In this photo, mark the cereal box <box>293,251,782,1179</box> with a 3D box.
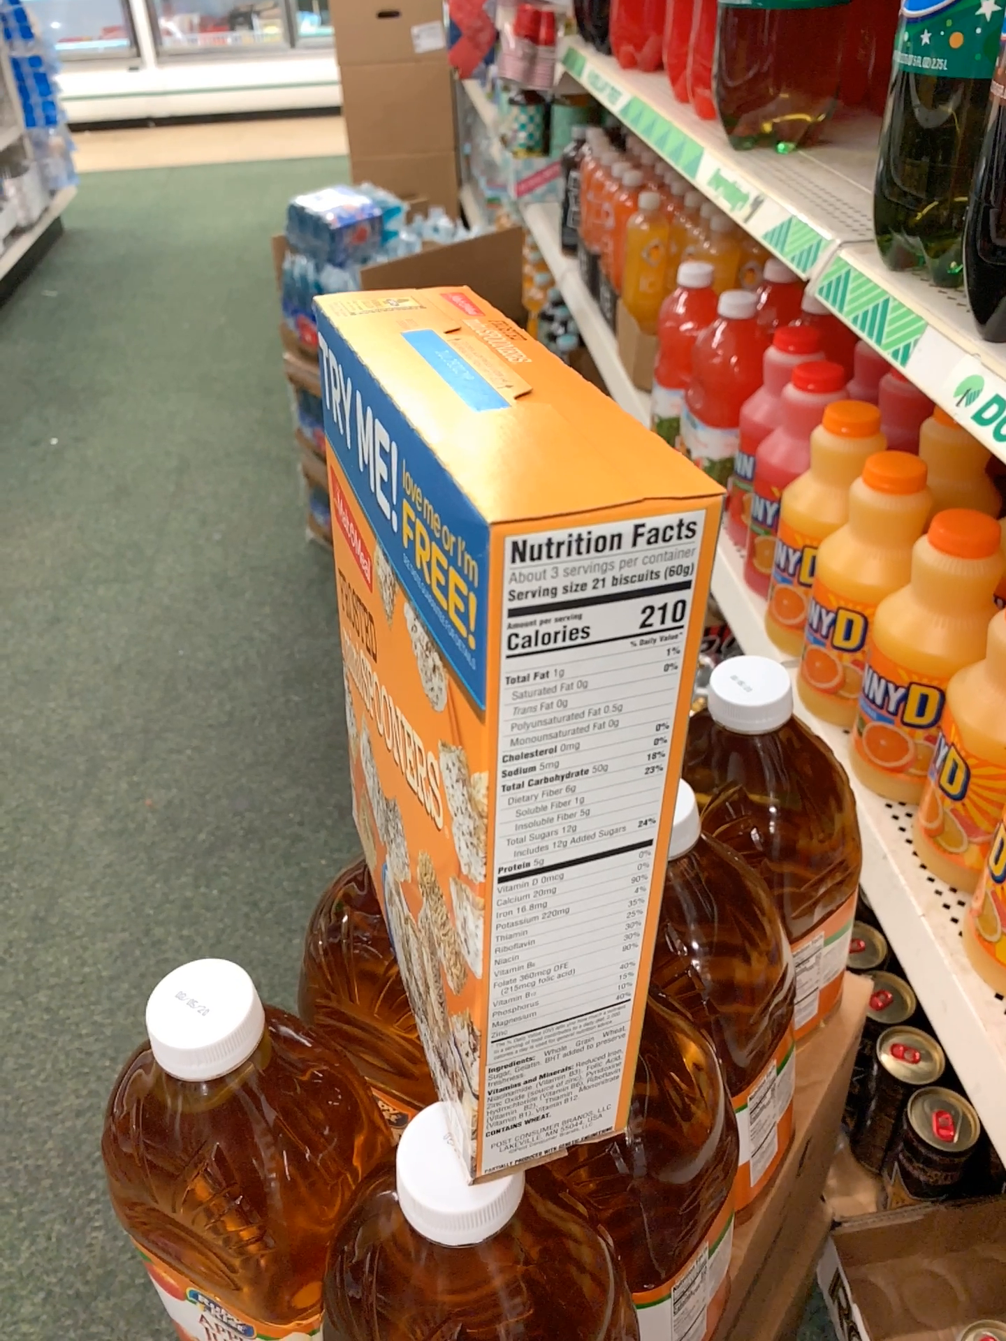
[{"bbox_3d":[-0.010,0.009,0.318,0.060,0.219,0.171,-10,37,-19],"label":"cereal box"}]
